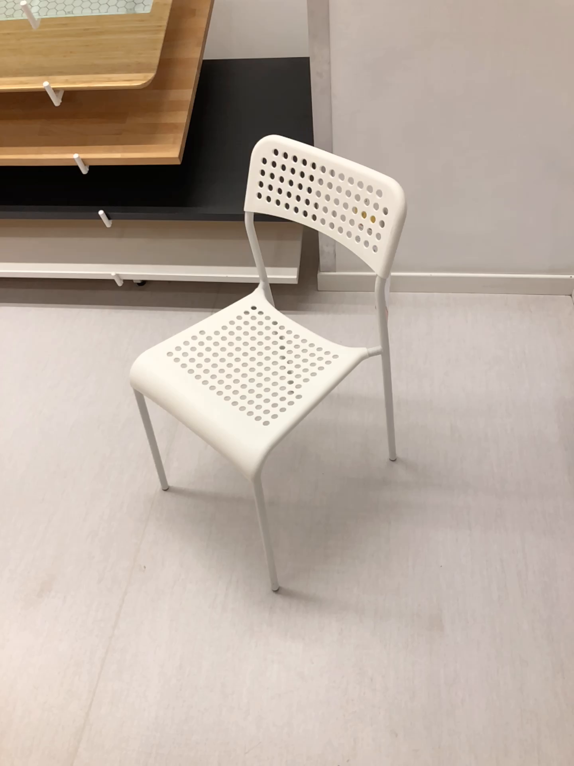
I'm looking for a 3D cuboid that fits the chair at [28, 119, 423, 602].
[{"bbox_3d":[-0.065,-0.025,1.263,0.422,0.735,0.471,32,58,31],"label":"chair"}]
